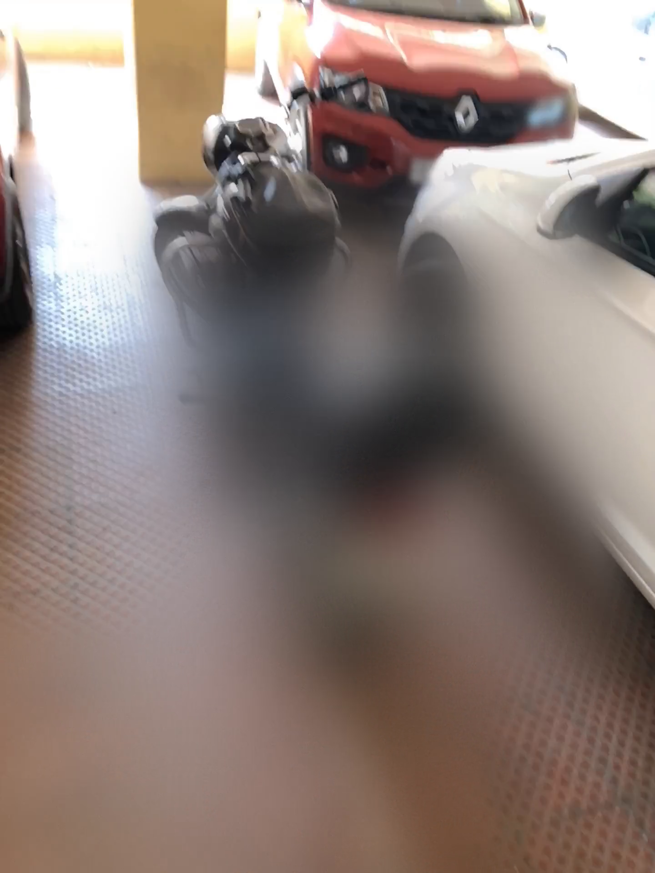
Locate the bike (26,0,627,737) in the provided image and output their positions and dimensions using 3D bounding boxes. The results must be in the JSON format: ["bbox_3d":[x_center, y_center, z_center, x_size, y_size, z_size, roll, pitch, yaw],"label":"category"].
[{"bbox_3d":[-0.268,-0.345,2.070,0.692,1.217,1.791,-11,45,-23],"label":"bike"}]
